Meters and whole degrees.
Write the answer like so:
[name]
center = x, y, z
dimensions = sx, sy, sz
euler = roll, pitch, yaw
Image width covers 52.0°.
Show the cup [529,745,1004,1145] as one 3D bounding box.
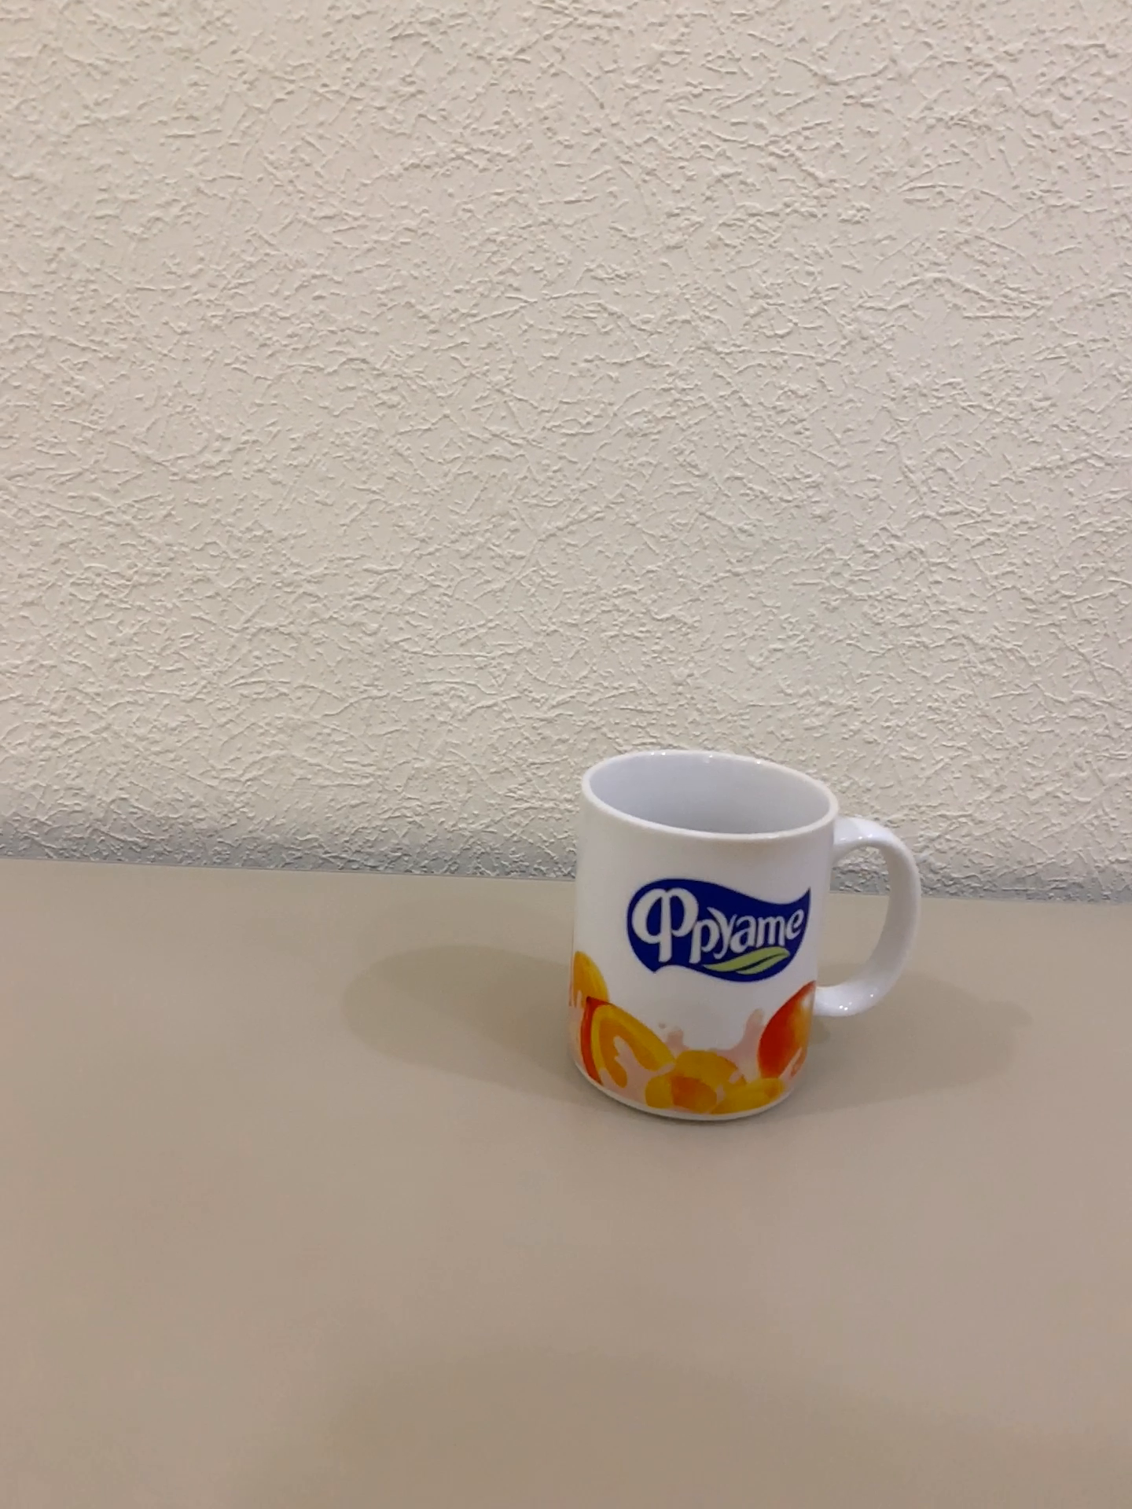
[cup]
center = 0.056, 0.054, 0.366
dimensions = 0.116, 0.092, 0.081
euler = -1, 18, -13
